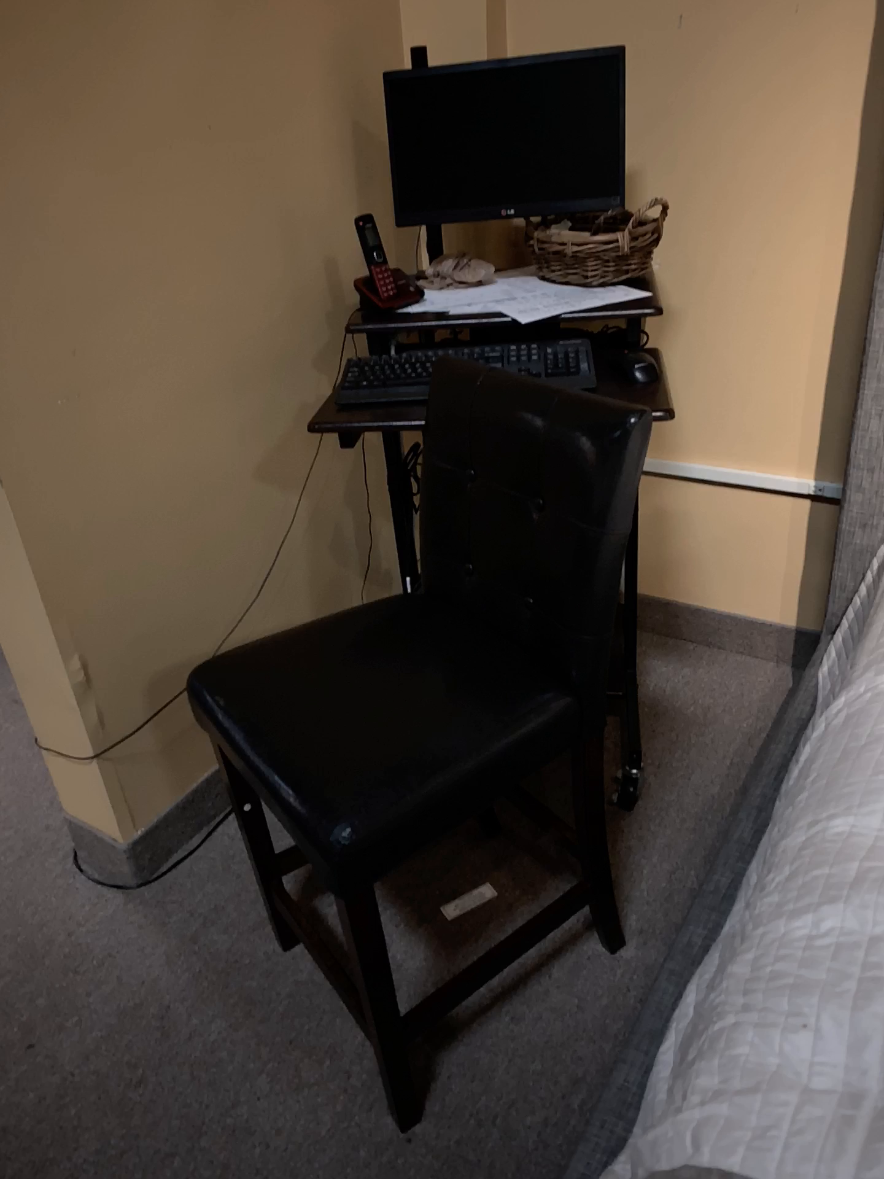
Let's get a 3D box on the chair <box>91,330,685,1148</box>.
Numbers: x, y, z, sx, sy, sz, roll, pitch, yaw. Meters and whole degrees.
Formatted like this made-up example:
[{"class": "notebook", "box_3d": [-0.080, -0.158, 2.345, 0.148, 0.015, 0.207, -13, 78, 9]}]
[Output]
[{"class": "chair", "box_3d": [-0.057, 0.174, 1.327, 0.518, 0.912, 0.560, -23, 34, -28]}]
